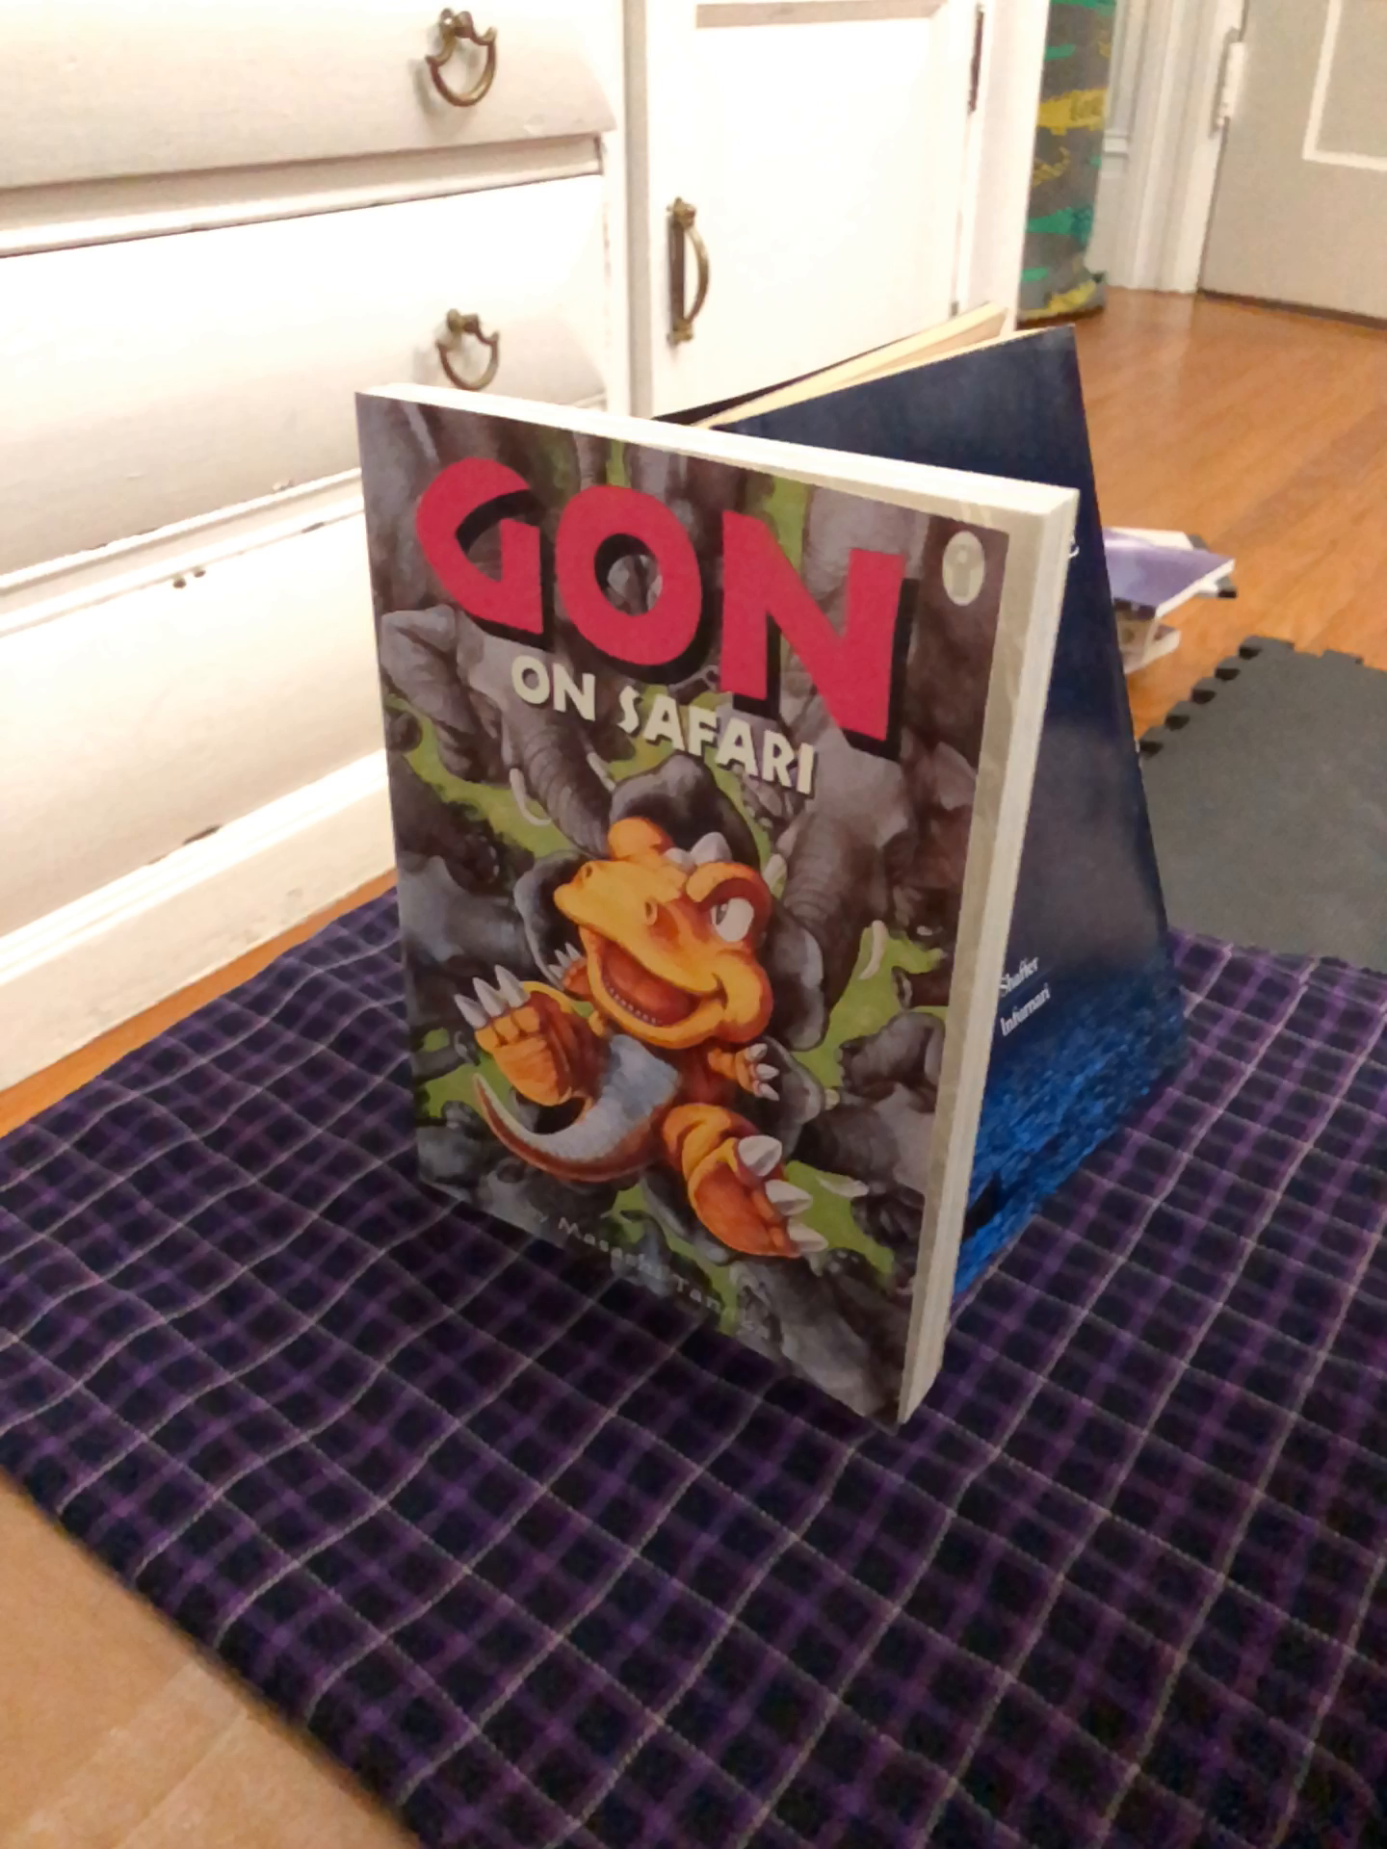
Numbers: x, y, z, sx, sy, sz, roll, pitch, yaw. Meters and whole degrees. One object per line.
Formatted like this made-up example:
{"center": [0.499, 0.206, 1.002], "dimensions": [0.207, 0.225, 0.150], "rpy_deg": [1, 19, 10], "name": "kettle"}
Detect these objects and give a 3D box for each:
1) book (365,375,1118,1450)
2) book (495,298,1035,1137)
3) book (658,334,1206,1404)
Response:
{"center": [-0.003, -0.002, 0.307], "dimensions": [0.140, 0.189, 0.020], "rpy_deg": [18, 29, 27], "name": "book"}
{"center": [0.015, -0.049, 0.391], "dimensions": [0.010, 0.199, 0.141], "rpy_deg": [34, 43, 16], "name": "book"}
{"center": [0.069, -0.021, 0.350], "dimensions": [0.010, 0.199, 0.151], "rpy_deg": [-1, 23, 40], "name": "book"}
